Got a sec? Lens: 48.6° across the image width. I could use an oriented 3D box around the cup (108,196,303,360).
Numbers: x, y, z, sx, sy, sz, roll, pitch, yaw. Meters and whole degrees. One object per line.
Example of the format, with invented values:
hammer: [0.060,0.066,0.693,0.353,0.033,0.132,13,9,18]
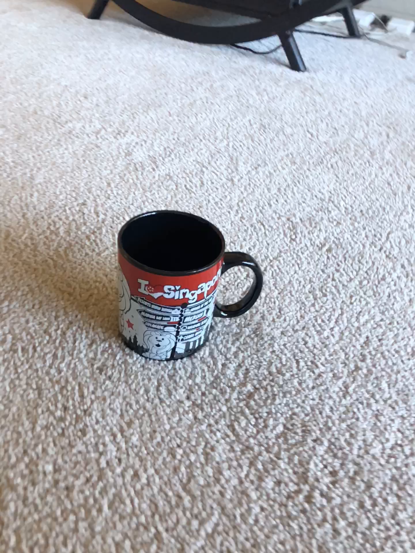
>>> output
cup: [-0.009,0.000,0.365,0.130,0.090,0.090,0,39,-9]
